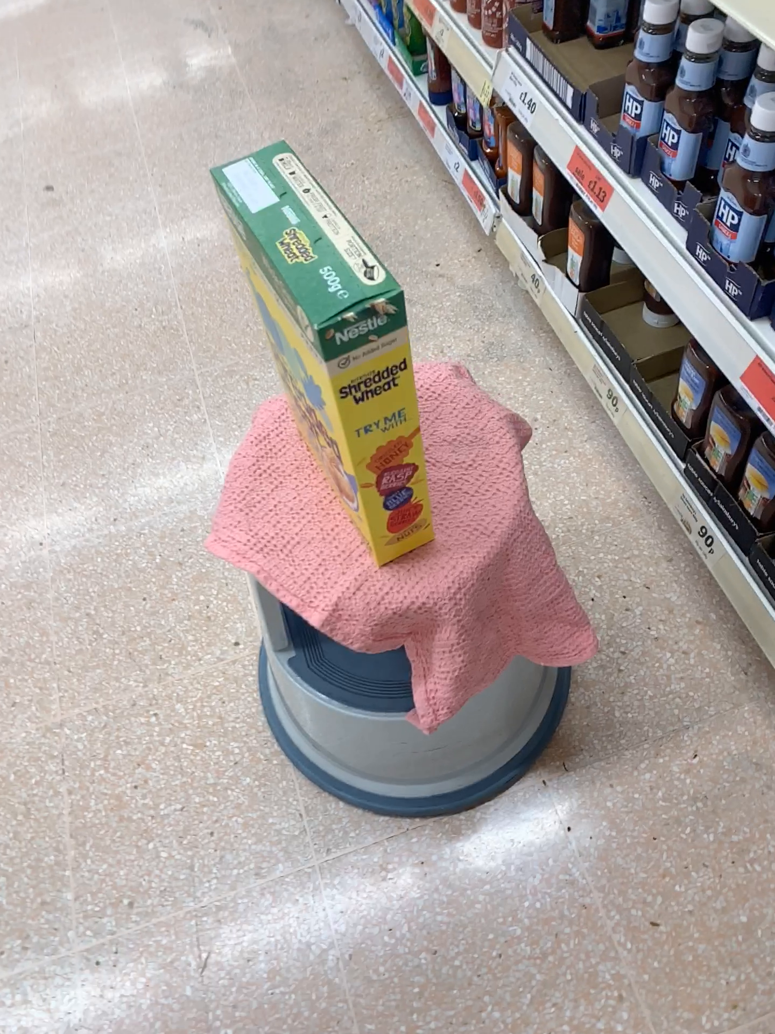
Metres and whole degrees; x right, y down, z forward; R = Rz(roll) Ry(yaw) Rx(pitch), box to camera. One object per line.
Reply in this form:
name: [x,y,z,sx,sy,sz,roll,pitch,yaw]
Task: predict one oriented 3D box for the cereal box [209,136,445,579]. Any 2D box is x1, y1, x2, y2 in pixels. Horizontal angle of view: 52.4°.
cereal box: [-0.040,-0.115,0.636,0.070,0.278,0.212,-23,56,-8]
